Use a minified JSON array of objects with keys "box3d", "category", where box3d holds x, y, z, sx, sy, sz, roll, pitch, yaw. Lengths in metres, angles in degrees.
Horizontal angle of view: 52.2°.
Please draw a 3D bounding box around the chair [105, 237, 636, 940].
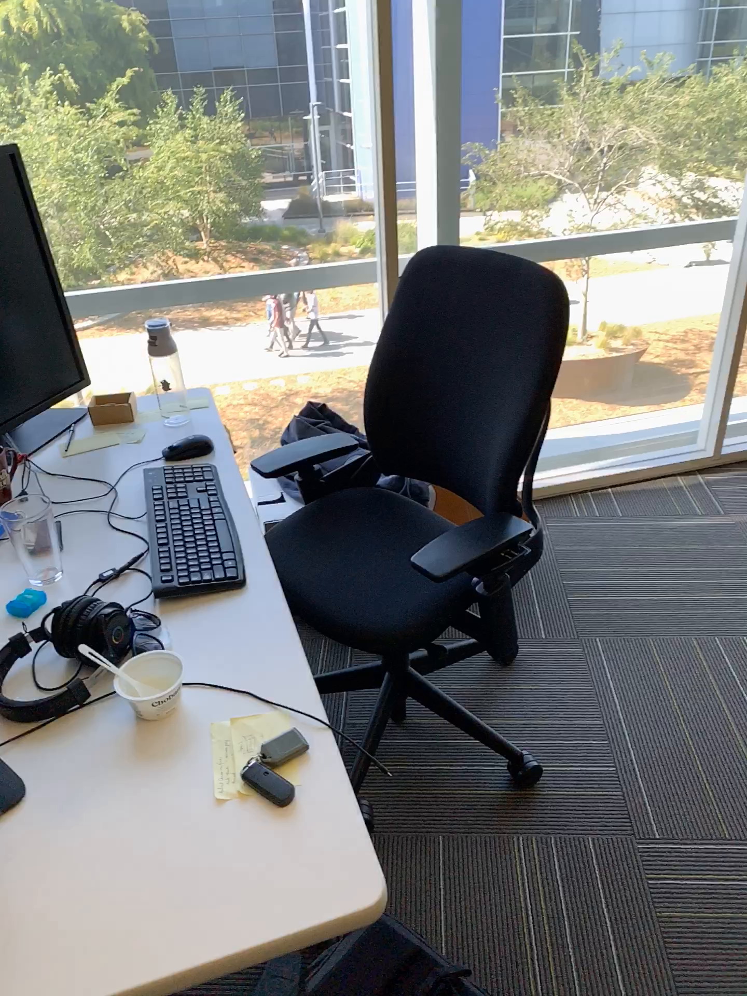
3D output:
[{"box3d":[0.017,0.147,1.724,0.691,1.223,0.713,-28,38,-36],"category":"chair"}]
